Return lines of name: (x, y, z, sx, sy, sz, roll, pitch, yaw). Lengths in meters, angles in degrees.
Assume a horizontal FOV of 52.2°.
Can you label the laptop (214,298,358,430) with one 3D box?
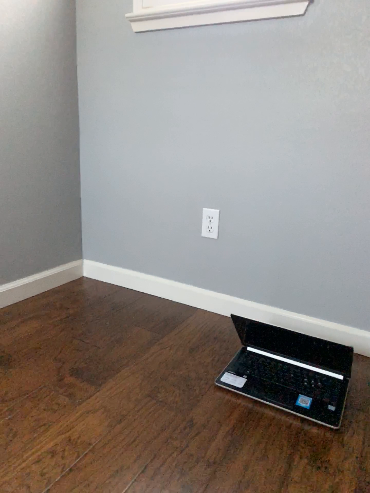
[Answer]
laptop: (0.273, 0.291, 1.015, 0.317, 0.169, 0.220, 11, 17, 27)
